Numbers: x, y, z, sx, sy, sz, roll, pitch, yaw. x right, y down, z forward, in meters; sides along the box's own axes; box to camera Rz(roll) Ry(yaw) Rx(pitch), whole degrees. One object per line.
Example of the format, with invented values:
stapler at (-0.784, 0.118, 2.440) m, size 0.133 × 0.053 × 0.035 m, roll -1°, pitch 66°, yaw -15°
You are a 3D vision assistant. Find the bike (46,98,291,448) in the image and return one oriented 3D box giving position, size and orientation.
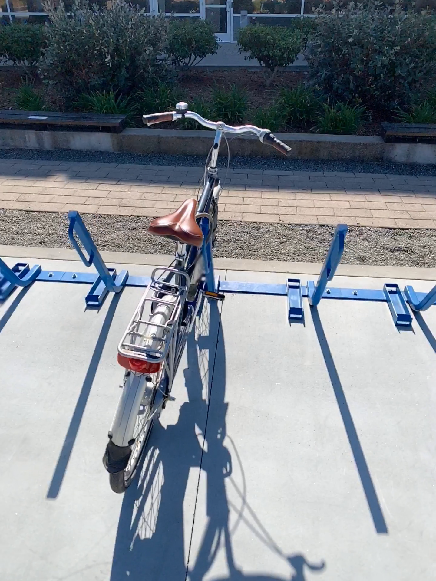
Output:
bike at (-0.059, -0.155, 1.767) m, size 0.590 × 0.915 × 1.067 m, roll 5°, pitch 35°, yaw 8°
